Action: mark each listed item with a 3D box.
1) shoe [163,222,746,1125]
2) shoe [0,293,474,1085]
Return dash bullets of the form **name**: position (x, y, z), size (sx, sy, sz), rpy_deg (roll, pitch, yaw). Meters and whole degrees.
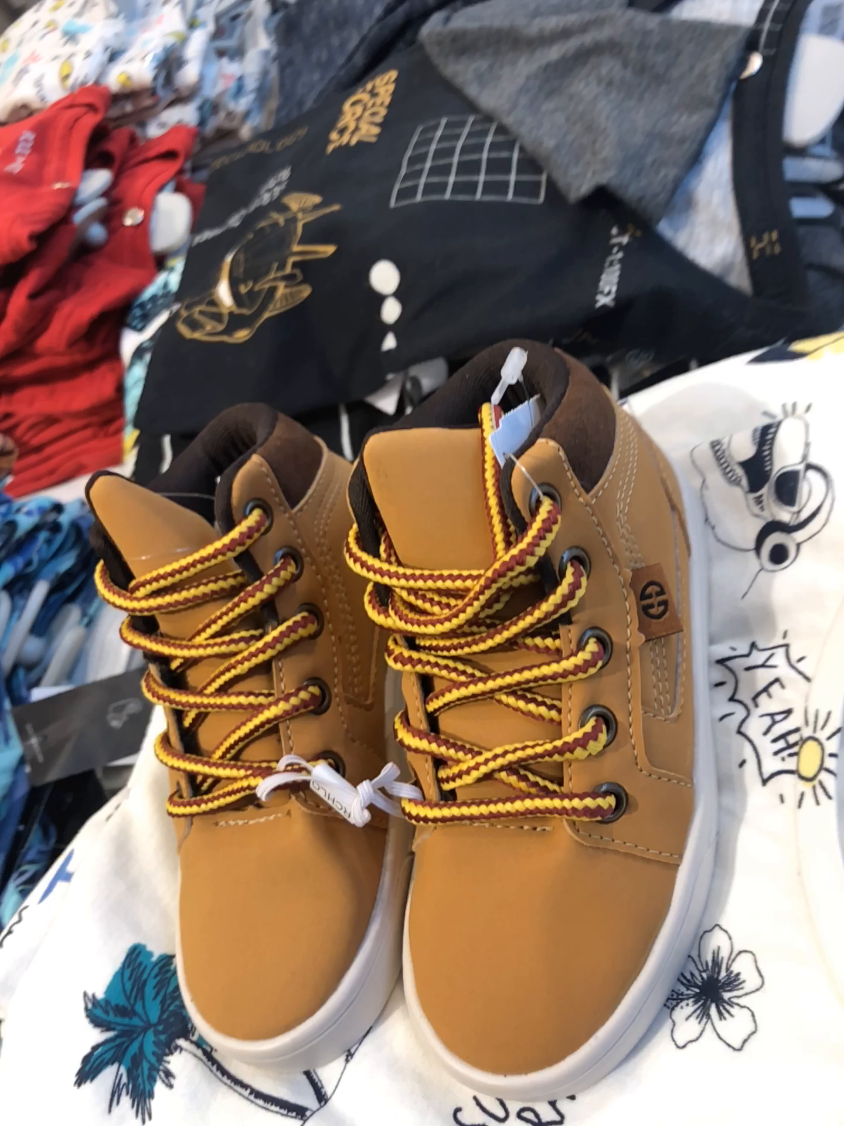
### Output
- **shoe**: position (0.025, 0.022, 0.218), size (0.070, 0.089, 0.171), rpy_deg (-4, 56, 29)
- **shoe**: position (-0.039, 0.031, 0.243), size (0.070, 0.089, 0.171), rpy_deg (-12, 54, 23)
